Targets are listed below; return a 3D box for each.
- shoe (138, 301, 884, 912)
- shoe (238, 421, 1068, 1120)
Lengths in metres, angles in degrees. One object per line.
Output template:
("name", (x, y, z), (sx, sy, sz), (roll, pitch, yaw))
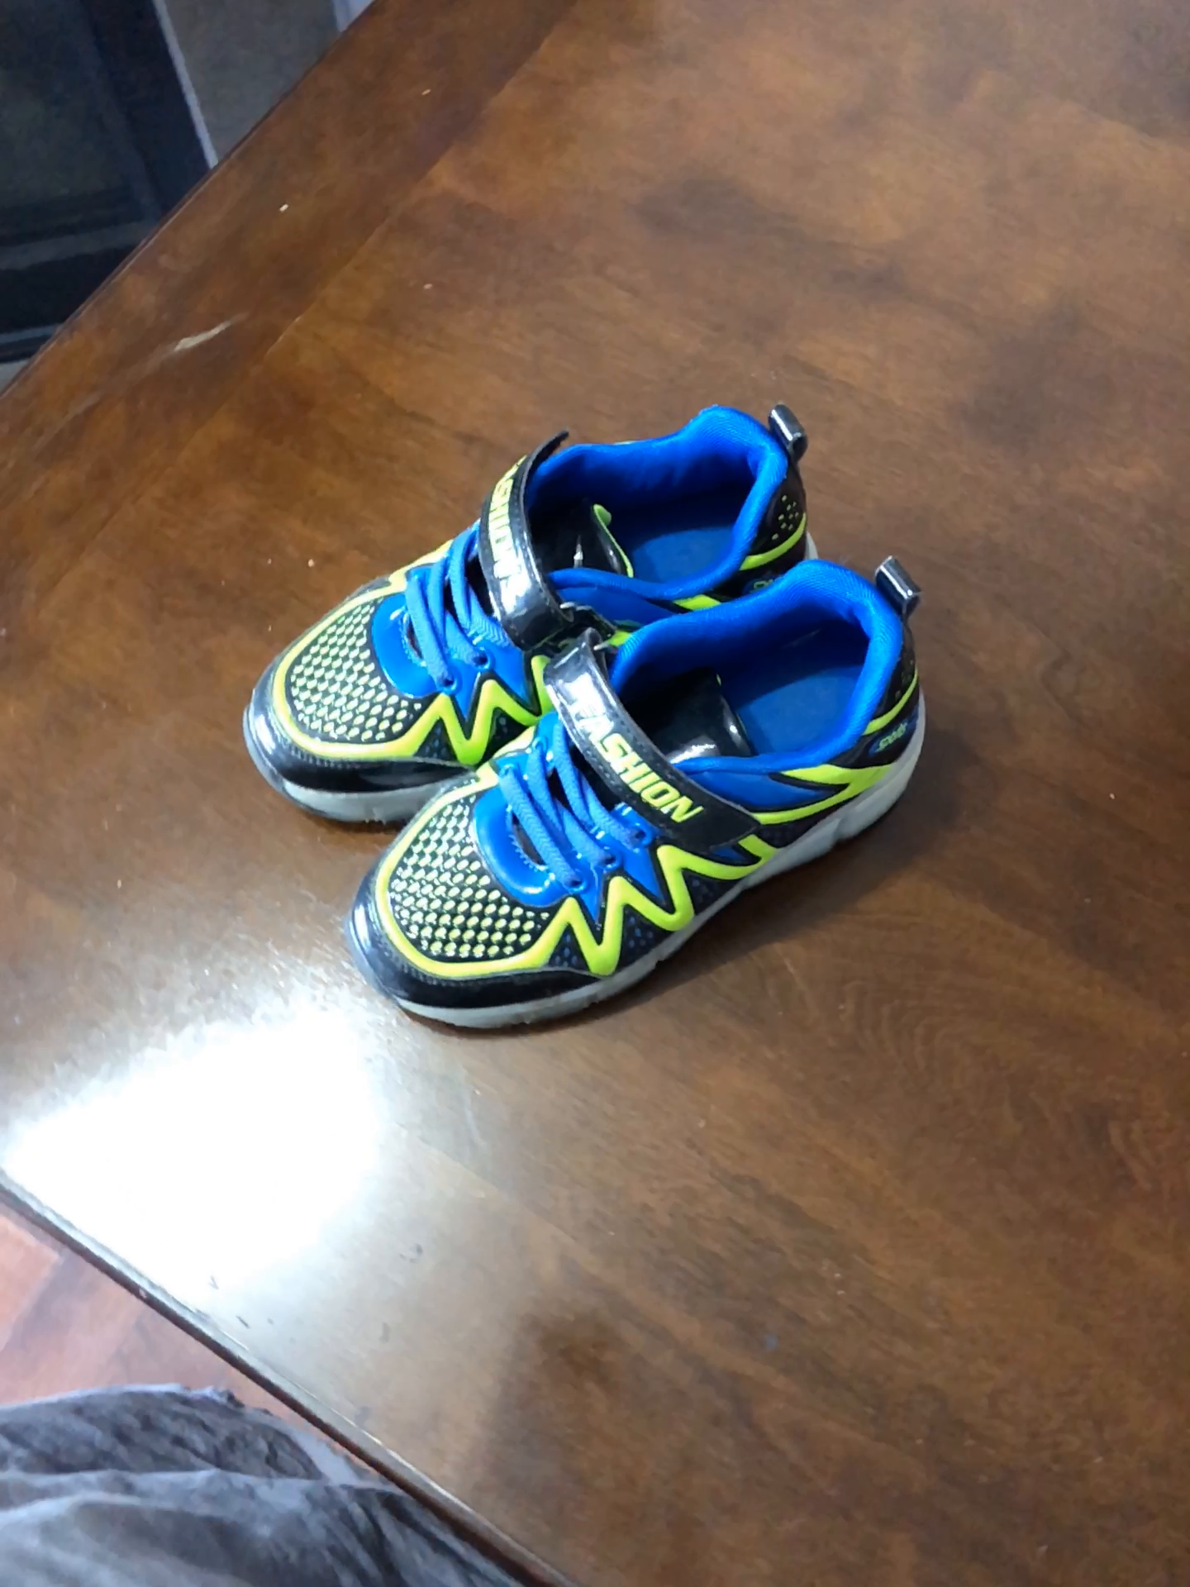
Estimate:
("shoe", (-0.026, -0.061, 0.466), (0.210, 0.120, 0.100), (-23, 69, -8))
("shoe", (0.020, -0.003, 0.438), (0.230, 0.120, 0.090), (-31, 71, -11))
